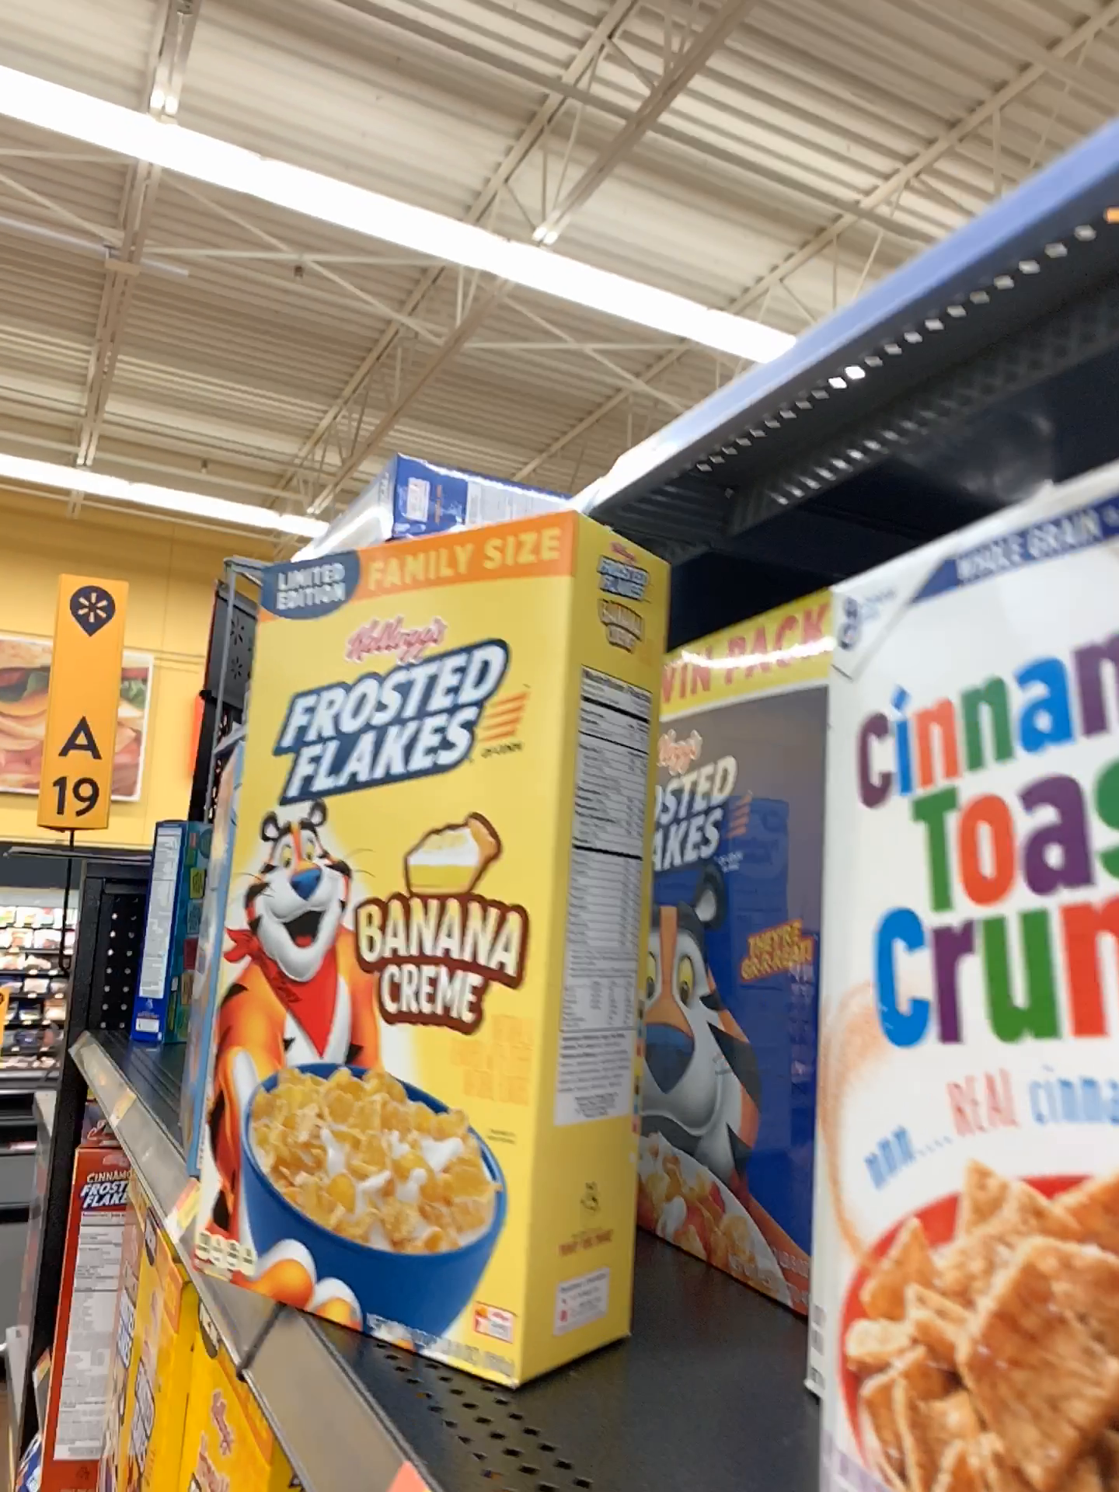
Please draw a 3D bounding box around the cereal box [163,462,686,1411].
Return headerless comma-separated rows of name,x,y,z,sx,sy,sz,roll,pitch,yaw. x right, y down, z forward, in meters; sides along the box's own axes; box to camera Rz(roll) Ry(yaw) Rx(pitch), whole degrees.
cereal box,-0.059,0.068,0.507,0.200,0.341,0.080,-3,-11,35
